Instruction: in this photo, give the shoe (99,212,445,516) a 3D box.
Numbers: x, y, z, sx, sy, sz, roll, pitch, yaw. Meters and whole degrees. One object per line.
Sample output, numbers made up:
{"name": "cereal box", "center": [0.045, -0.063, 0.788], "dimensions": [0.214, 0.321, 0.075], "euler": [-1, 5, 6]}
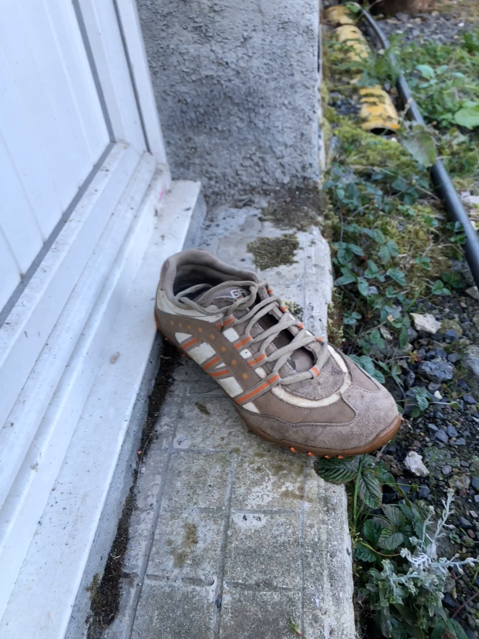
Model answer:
{"name": "shoe", "center": [0.014, 0.017, 0.450], "dimensions": [0.110, 0.099, 0.270], "euler": [-36, 49, -28]}
